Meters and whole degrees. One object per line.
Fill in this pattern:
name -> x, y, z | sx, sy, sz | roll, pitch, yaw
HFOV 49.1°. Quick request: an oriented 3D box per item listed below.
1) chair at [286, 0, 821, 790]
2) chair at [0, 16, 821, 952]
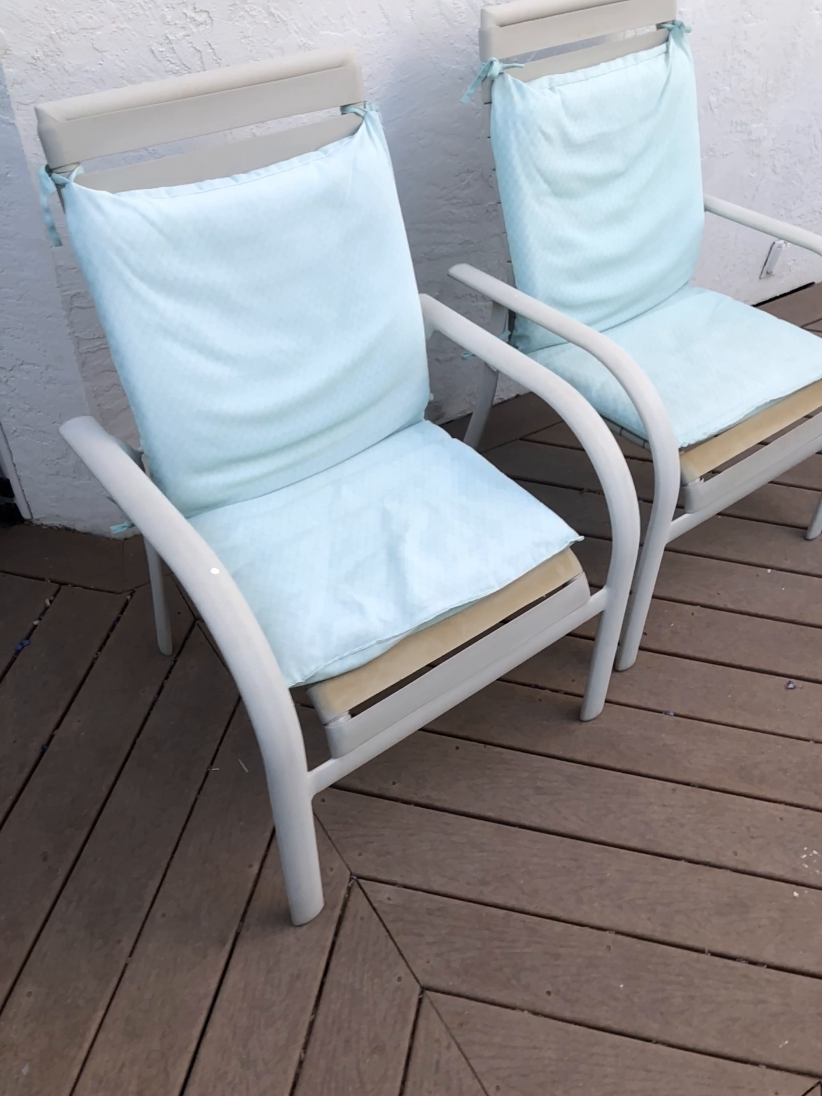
chair -> 0.353, -0.347, 1.928 | 0.842, 1.273, 0.873 | -27, 53, -27
chair -> -0.087, -0.109, 1.363 | 0.702, 0.965, 0.782 | -27, 53, -27
